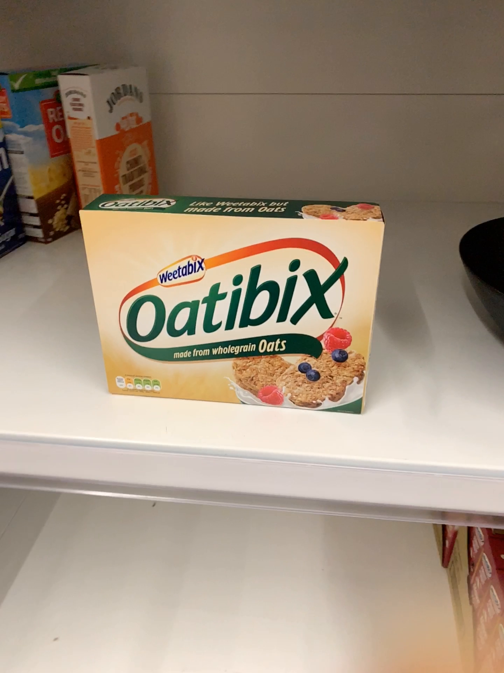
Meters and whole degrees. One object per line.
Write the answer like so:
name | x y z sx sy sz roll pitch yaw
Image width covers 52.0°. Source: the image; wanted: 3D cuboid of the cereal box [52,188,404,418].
cereal box | -0.018 -0.030 0.465 0.270 0.178 0.071 4 31 7
